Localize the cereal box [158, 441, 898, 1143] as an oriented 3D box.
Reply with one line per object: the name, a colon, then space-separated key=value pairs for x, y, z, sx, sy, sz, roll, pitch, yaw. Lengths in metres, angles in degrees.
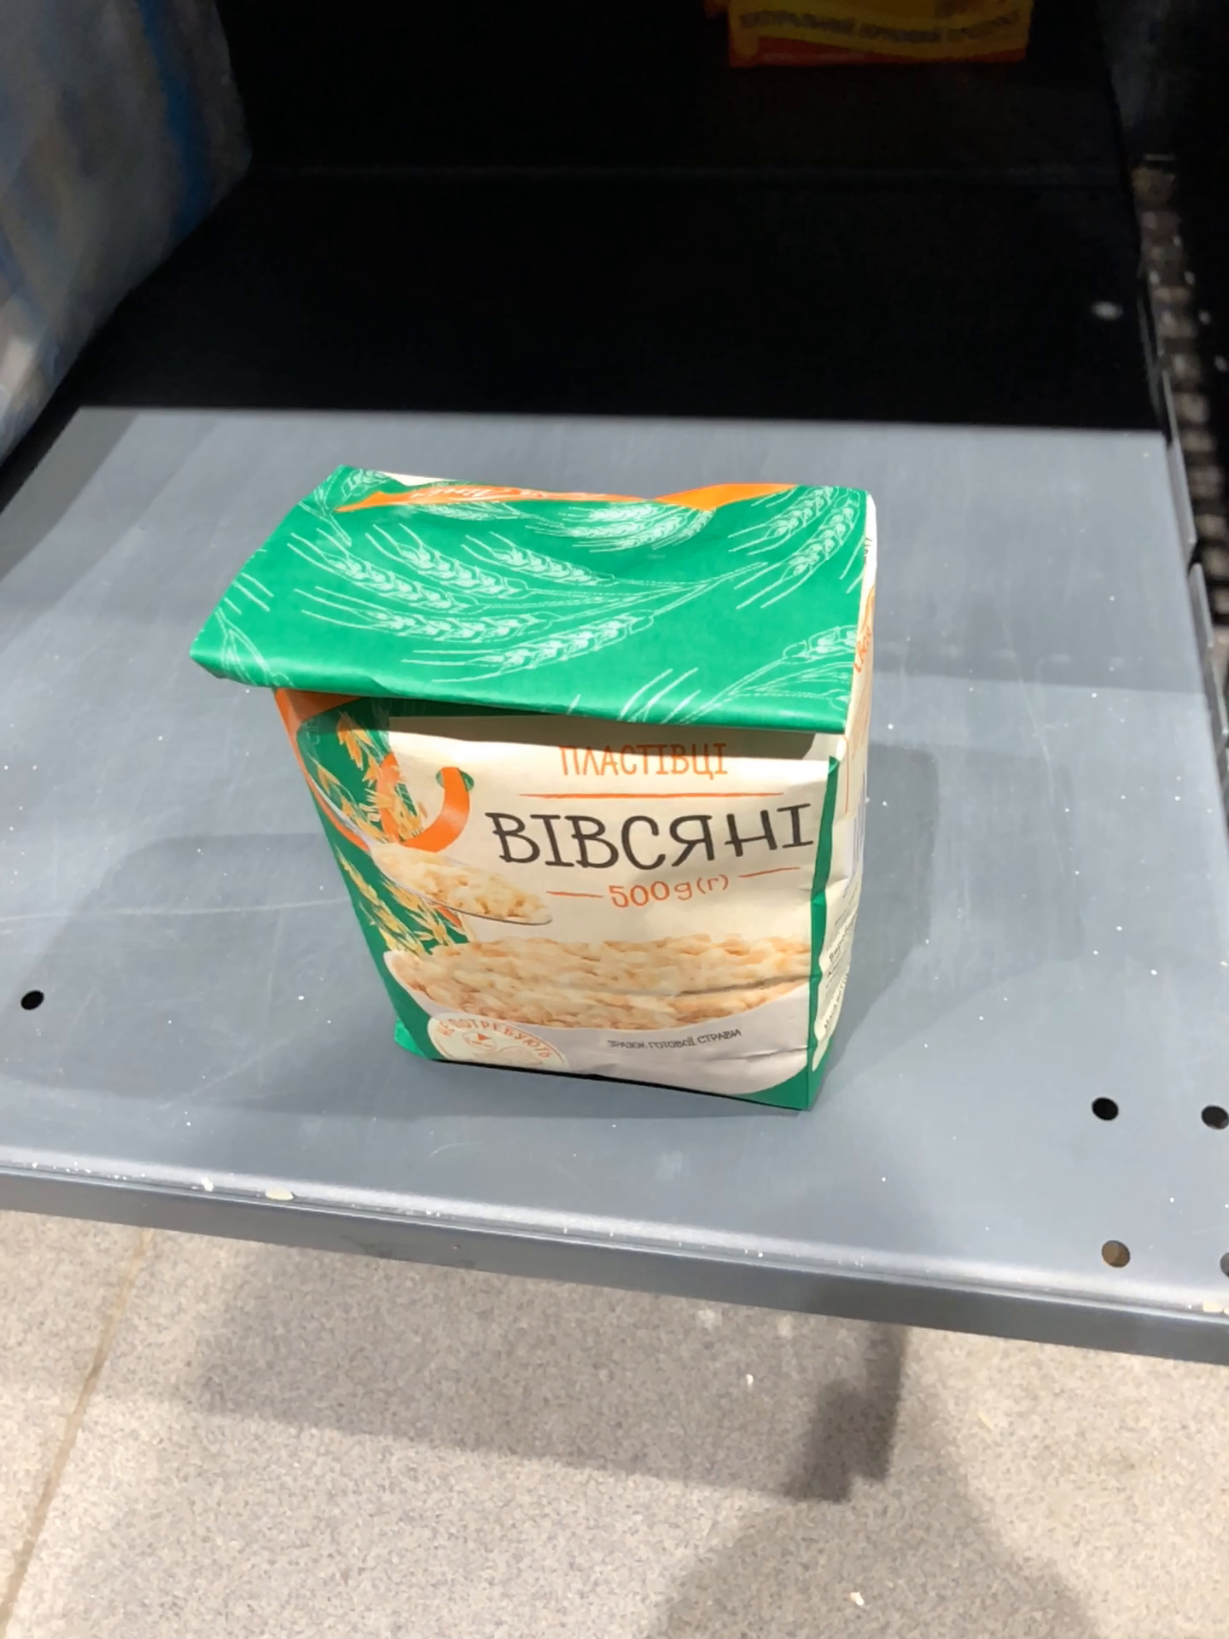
cereal box: x=-0.006 y=0.000 z=0.294 sx=0.120 sy=0.139 sz=0.071 roll=4 pitch=51 yaw=8
